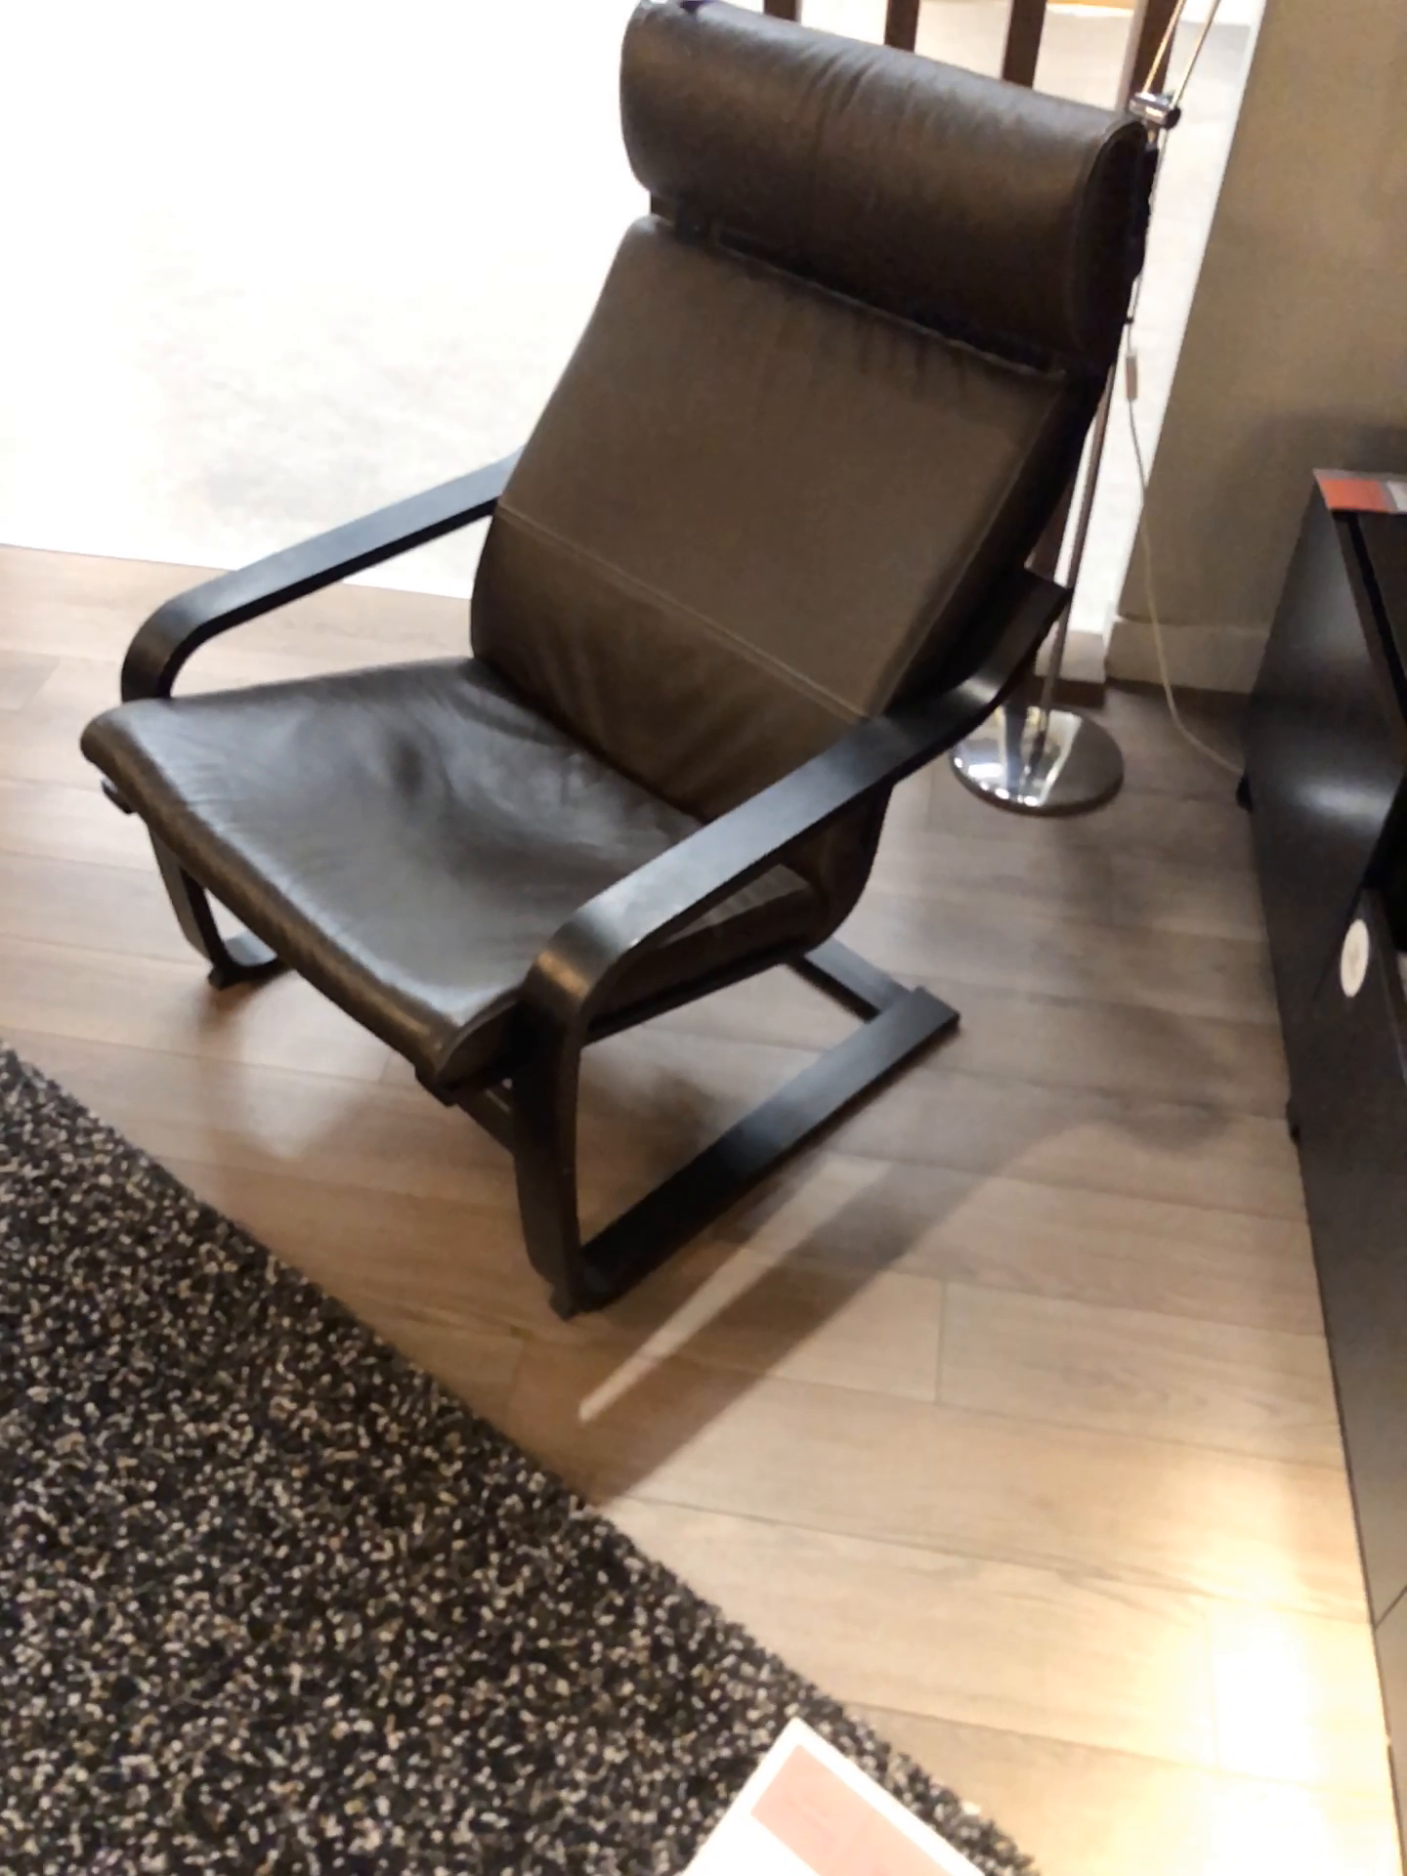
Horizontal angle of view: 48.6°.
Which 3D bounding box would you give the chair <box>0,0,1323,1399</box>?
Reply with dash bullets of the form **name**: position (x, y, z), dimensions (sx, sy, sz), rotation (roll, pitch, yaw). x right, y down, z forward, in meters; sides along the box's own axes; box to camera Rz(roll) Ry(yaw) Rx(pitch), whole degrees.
- **chair**: position (-0.099, -0.290, 1.430), dimensions (0.782, 0.876, 0.732), rotation (35, 52, 30)
